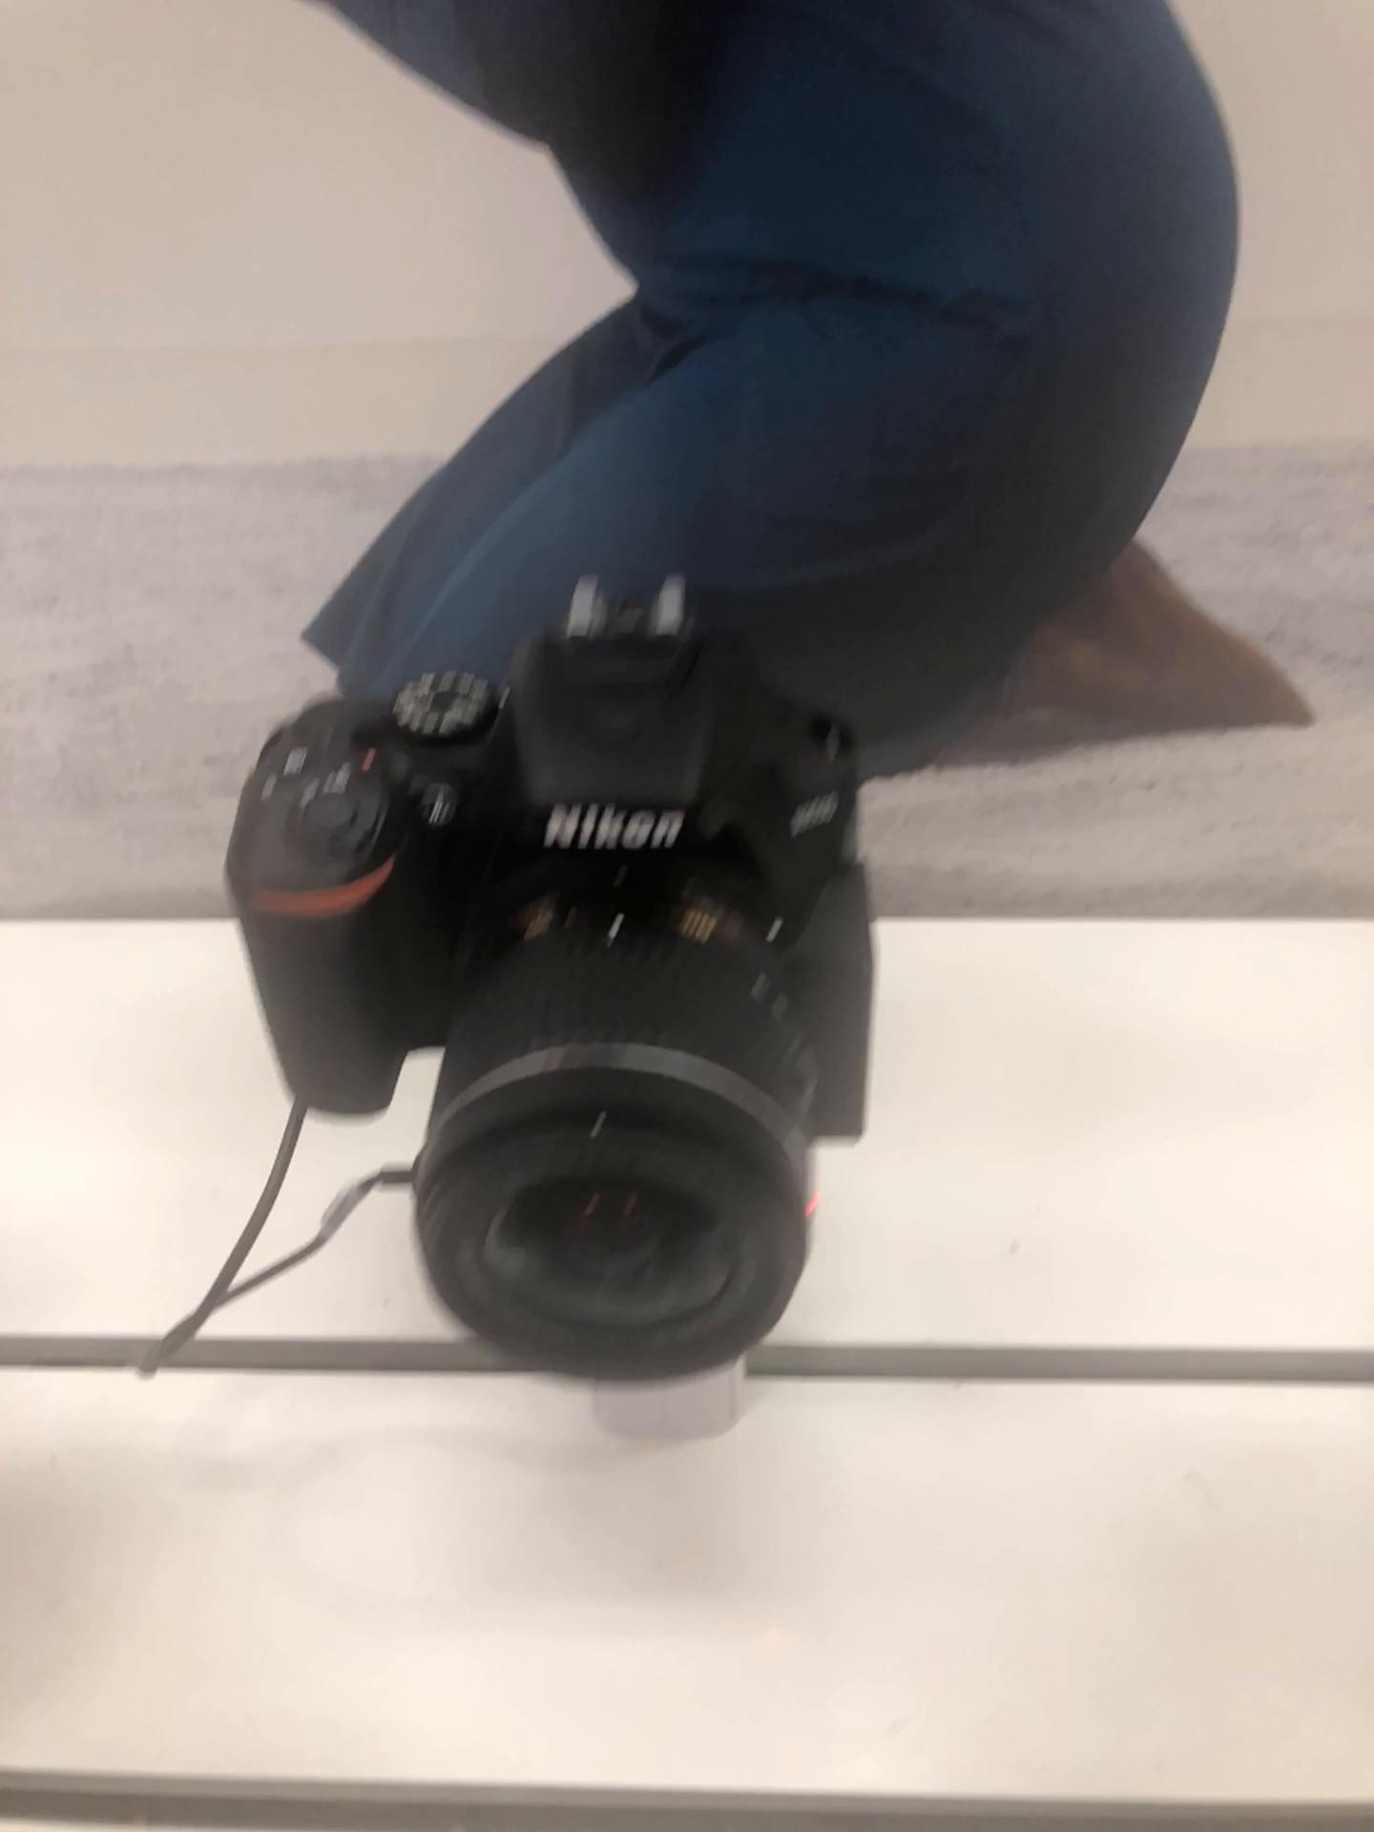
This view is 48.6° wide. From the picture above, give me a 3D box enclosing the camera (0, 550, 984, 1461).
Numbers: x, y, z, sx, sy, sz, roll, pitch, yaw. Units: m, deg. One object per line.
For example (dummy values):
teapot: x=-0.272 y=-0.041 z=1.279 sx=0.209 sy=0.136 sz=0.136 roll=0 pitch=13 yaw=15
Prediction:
camera: x=-0.028 y=0.007 z=0.266 sx=0.140 sy=0.090 sz=0.130 roll=2 pitch=39 yaw=5
